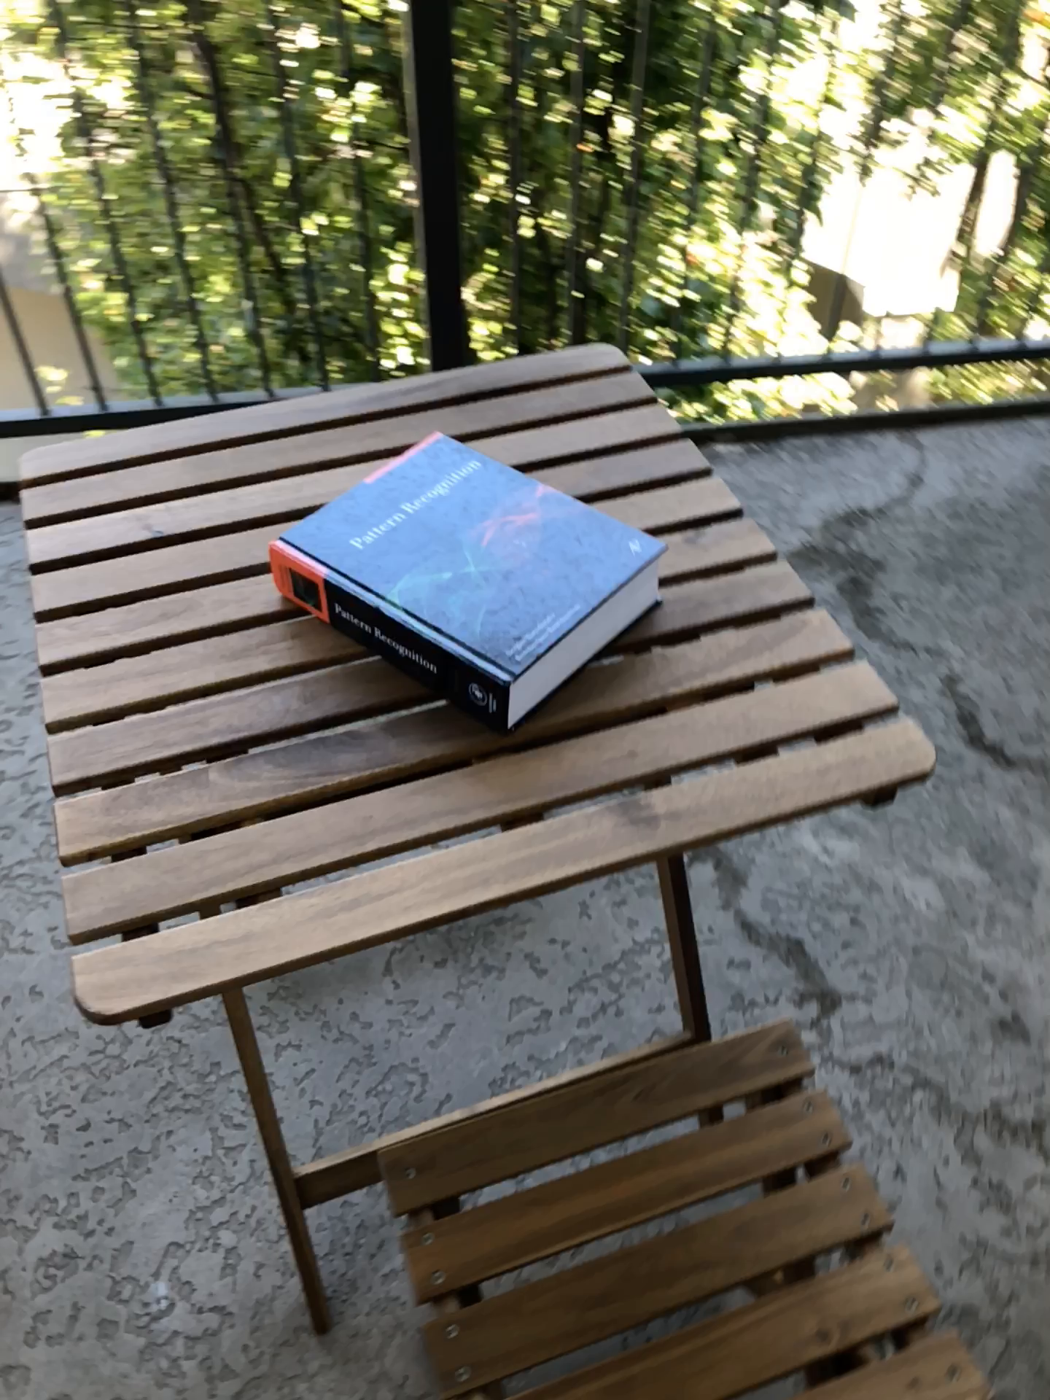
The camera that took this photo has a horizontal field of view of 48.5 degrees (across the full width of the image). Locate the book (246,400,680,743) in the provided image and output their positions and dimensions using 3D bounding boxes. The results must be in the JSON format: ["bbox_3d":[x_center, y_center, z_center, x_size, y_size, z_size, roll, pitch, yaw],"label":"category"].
[{"bbox_3d":[-0.047,-0.112,0.902,0.250,0.070,0.210,32,54,26],"label":"book"}]
